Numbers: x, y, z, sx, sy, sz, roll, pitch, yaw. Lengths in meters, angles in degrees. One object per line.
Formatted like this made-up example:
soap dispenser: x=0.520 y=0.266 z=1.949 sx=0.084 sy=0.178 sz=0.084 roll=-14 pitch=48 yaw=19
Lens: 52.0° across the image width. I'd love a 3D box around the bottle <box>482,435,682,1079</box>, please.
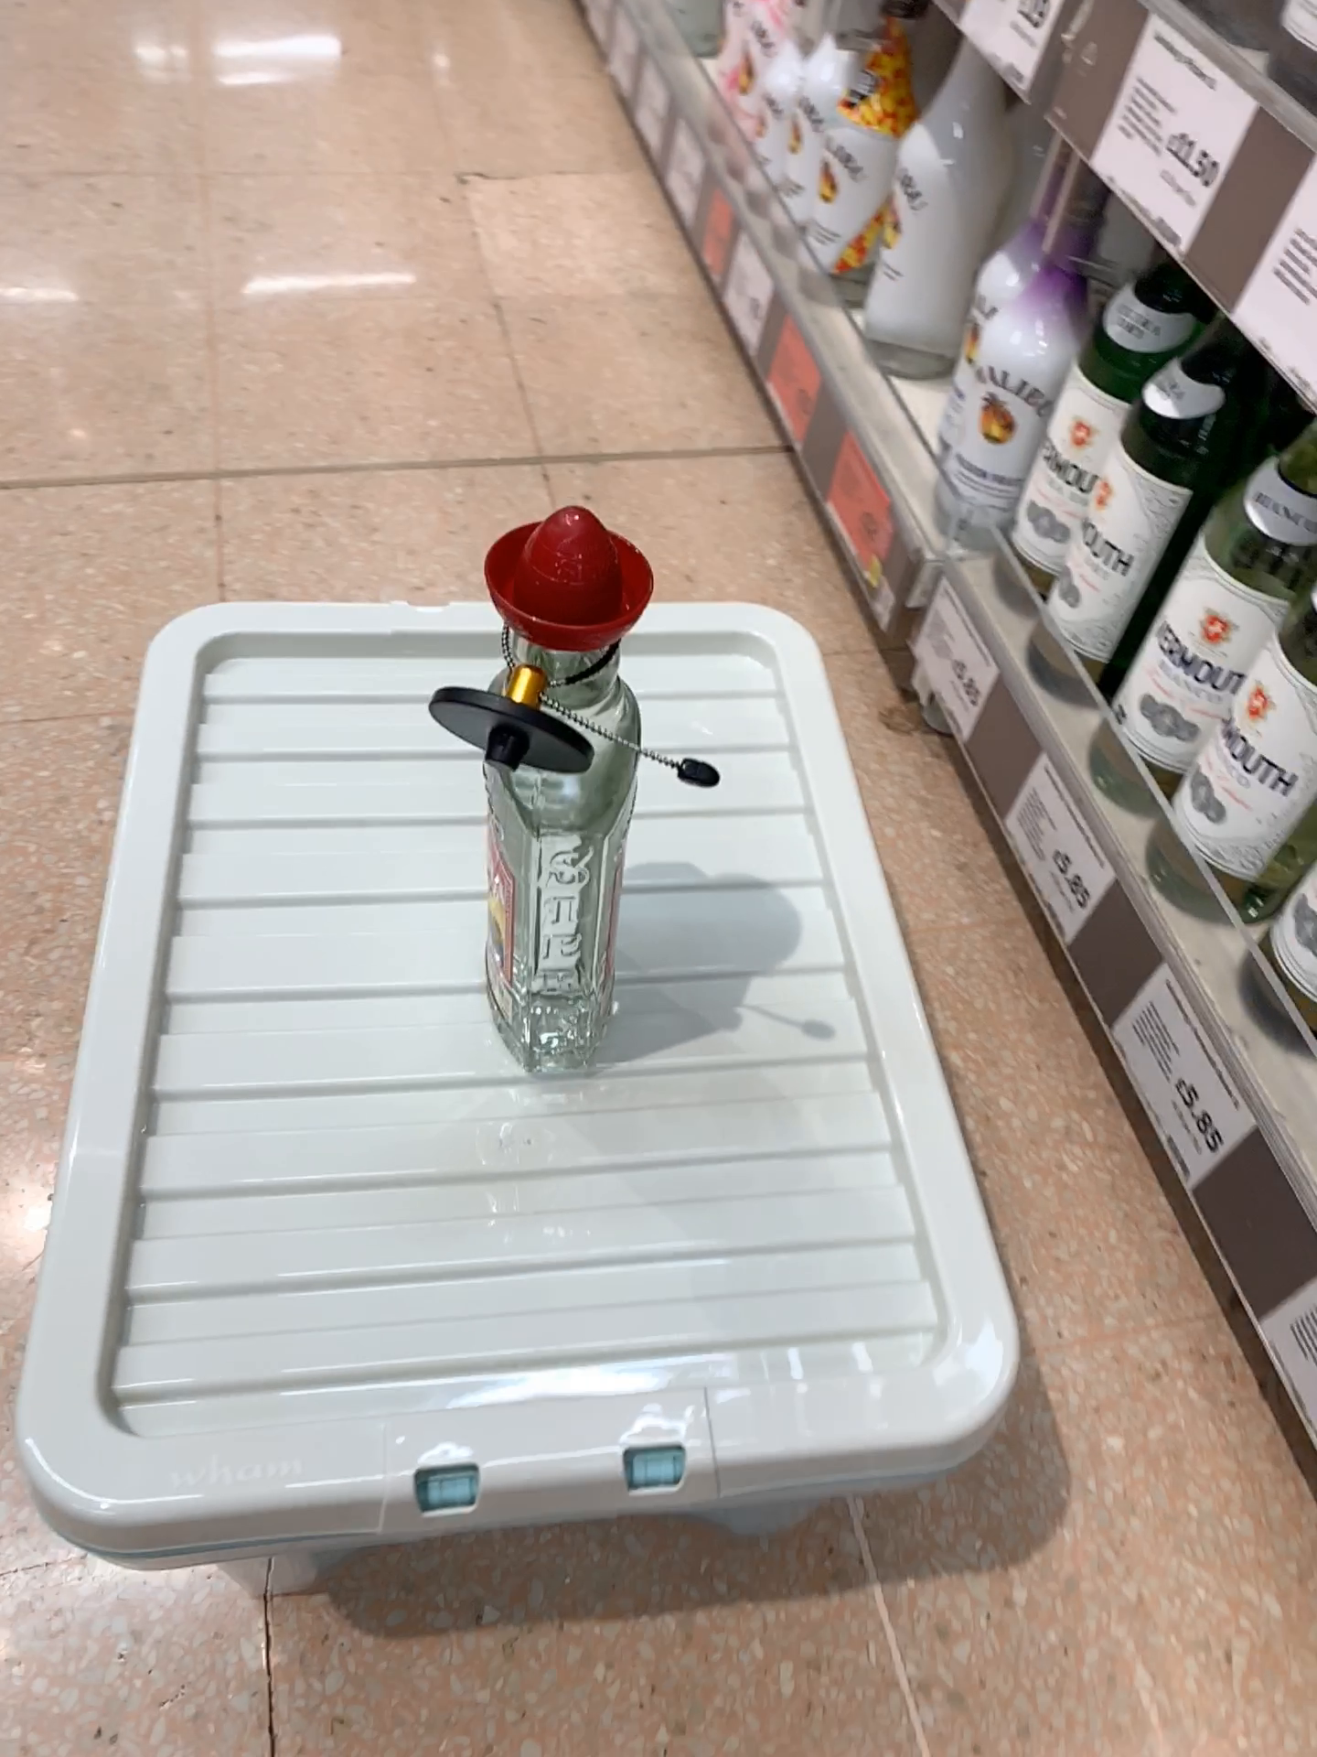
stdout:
bottle: x=-0.038 y=-0.032 z=0.512 sx=0.057 sy=0.240 sz=0.104 roll=0 pitch=51 yaw=-7
